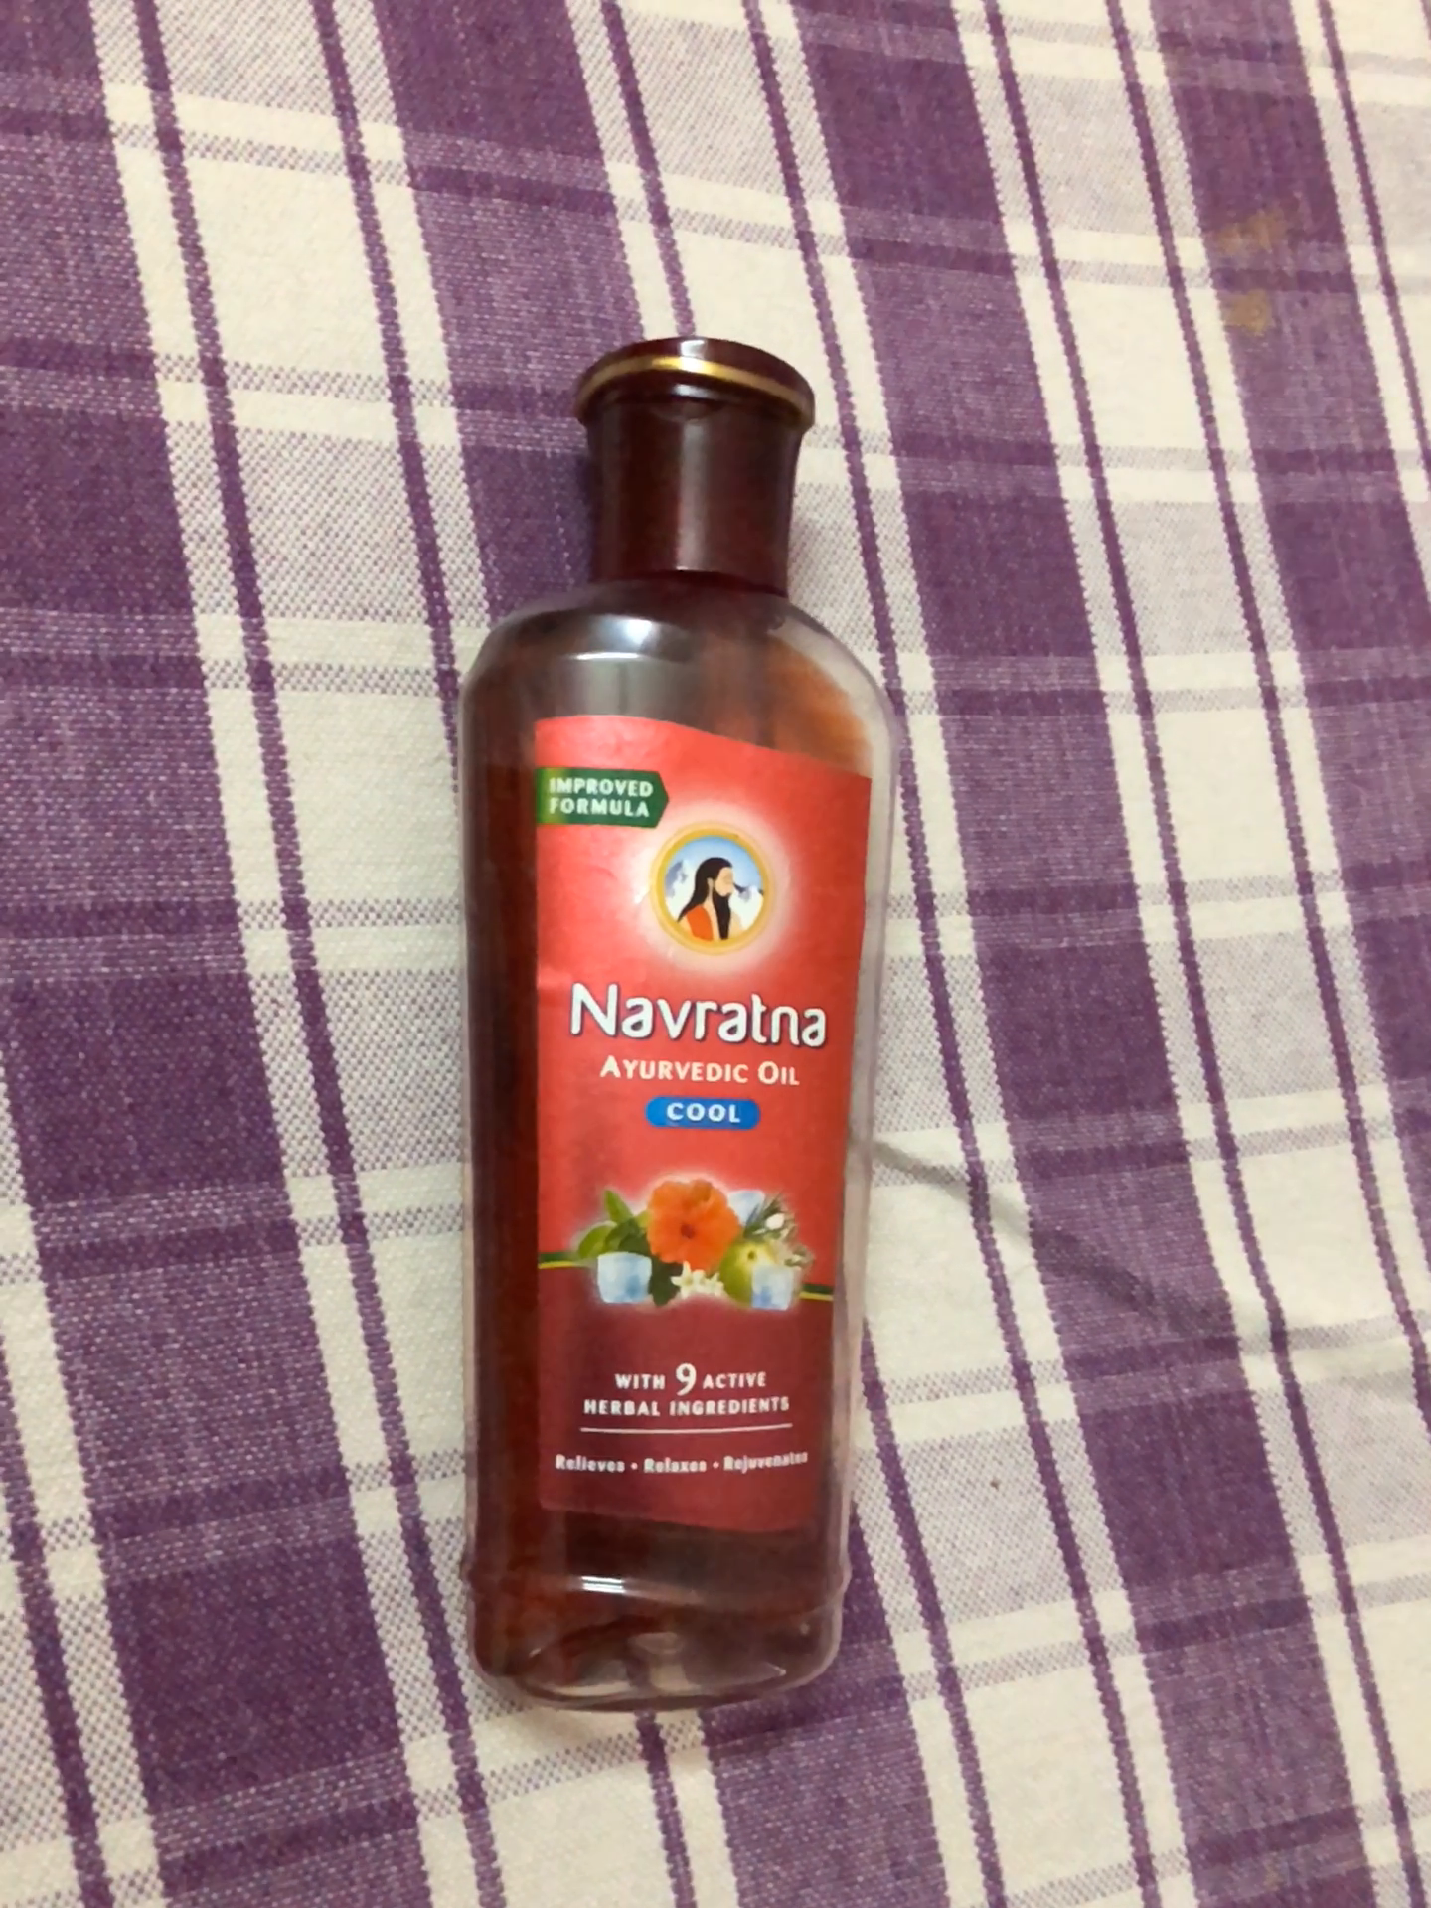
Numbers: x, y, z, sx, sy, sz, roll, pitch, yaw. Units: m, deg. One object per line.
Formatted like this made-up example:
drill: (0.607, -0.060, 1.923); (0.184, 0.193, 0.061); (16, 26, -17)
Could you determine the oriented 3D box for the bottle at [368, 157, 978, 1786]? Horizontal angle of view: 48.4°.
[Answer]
bottle: (-0.006, 0.001, 0.229); (0.070, 0.050, 0.200); (4, 83, -18)
